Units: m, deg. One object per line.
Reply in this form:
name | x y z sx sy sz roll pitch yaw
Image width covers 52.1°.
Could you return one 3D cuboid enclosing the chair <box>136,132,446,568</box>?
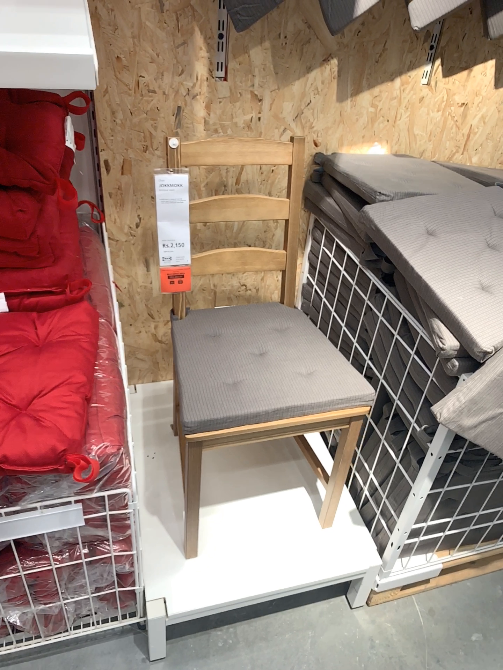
chair | 0.002 0.037 1.223 0.440 0.866 0.502 -6 38 -16
